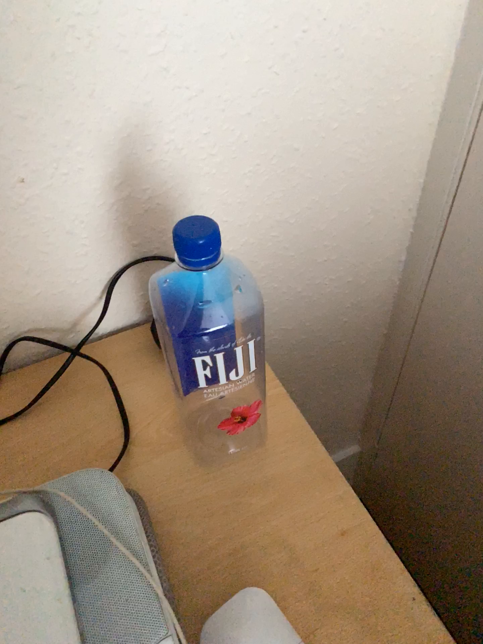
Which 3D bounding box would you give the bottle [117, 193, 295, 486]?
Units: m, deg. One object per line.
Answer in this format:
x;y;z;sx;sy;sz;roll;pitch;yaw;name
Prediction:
-0.022;0.023;0.383;0.090;0.208;0.081;-18;45;-16;bottle
